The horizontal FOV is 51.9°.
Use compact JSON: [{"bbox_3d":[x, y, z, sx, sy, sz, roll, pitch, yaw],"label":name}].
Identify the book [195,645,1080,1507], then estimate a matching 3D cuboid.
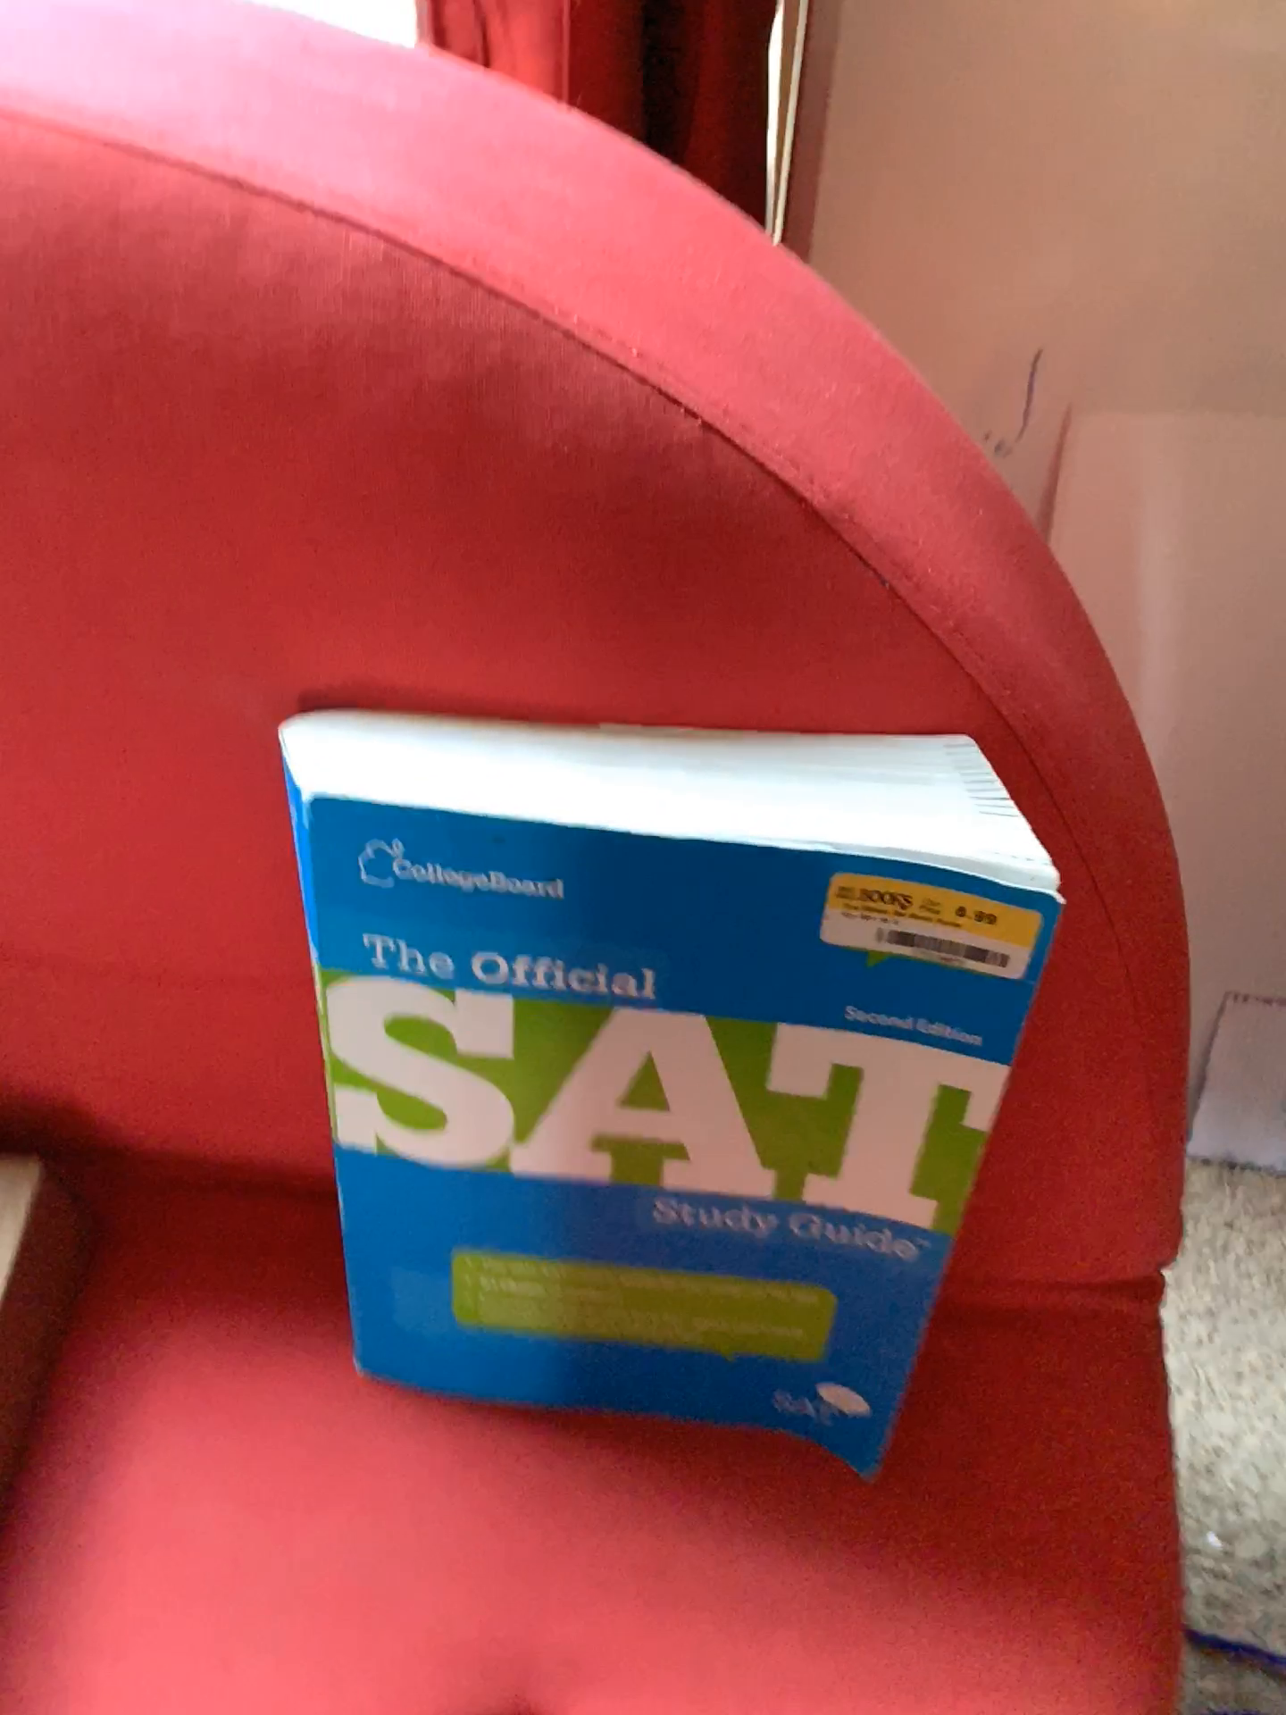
[{"bbox_3d":[-0.007,0.078,0.438,0.230,0.259,0.080,7,30,6],"label":"book"}]
